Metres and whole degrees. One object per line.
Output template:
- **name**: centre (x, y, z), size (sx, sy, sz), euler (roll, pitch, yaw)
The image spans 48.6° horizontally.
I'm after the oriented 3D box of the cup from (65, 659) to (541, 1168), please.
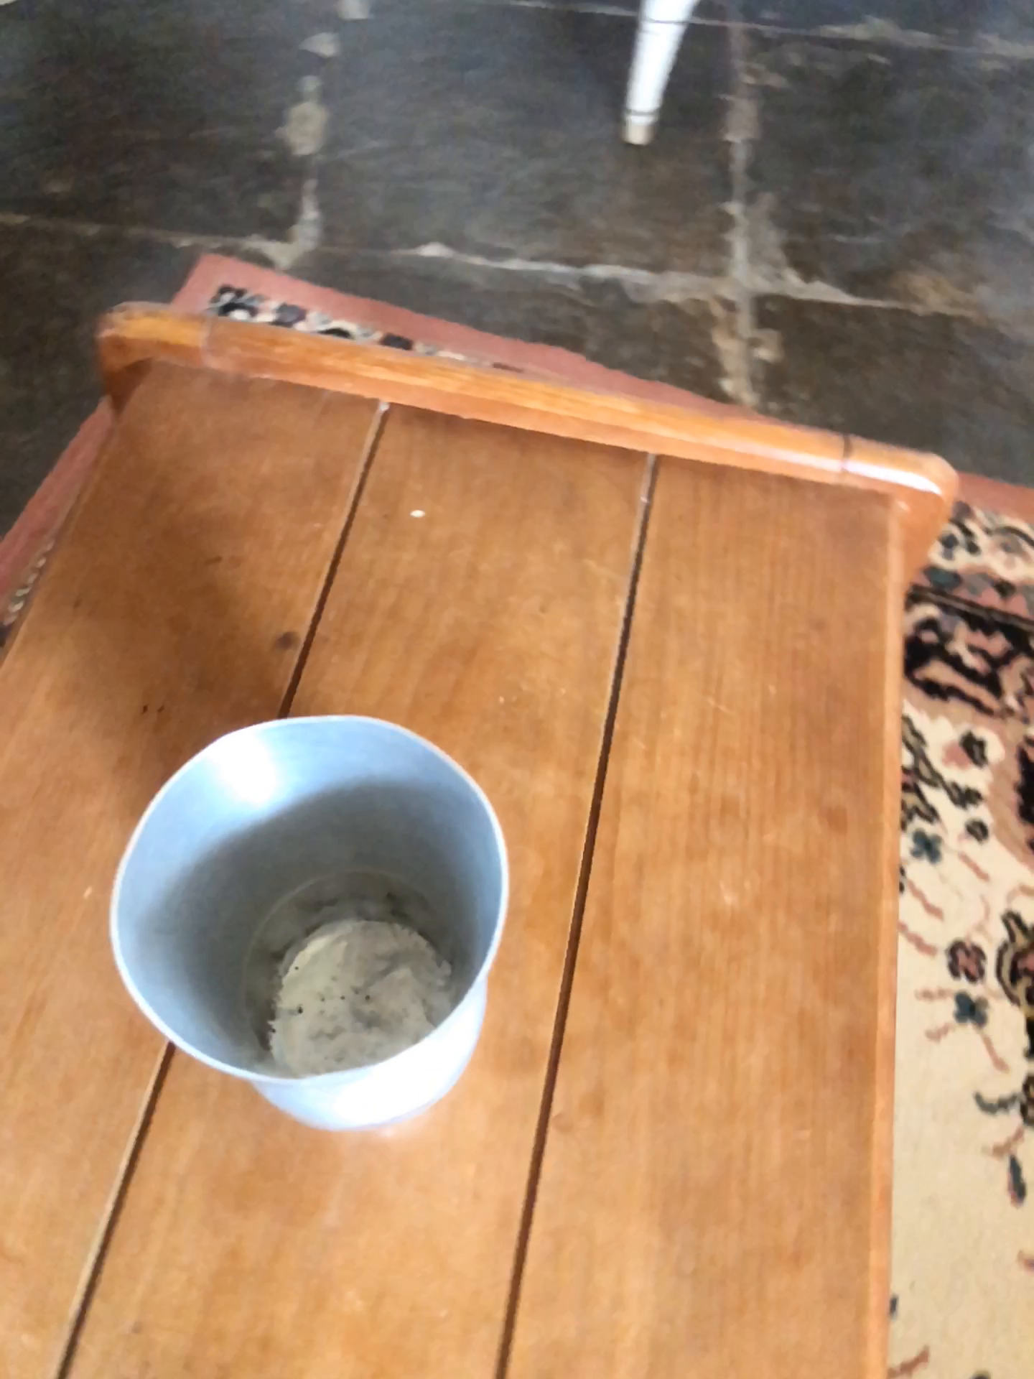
- **cup**: centre (-0.038, 0.056, 0.252), size (0.070, 0.109, 0.070), euler (2, 61, -3)
